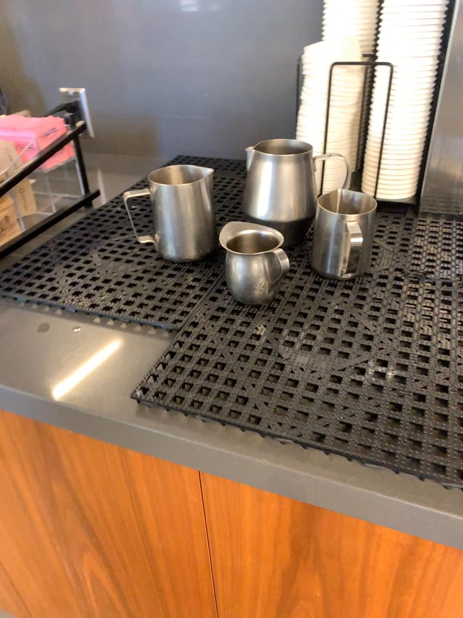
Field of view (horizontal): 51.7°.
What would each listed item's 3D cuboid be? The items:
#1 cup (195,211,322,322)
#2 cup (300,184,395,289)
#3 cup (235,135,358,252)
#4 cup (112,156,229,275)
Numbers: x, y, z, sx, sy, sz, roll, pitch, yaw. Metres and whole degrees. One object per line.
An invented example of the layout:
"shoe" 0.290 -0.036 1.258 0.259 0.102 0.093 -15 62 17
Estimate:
"cup" 0.027 -0.052 0.531 0.080 0.060 0.121 -23 39 -27
"cup" 0.132 -0.089 0.570 0.080 0.080 0.111 -3 34 0
"cup" 0.087 -0.161 0.668 0.150 0.129 0.101 1 34 6
"cup" -0.077 -0.125 0.624 0.120 0.109 0.080 -18 36 -21
